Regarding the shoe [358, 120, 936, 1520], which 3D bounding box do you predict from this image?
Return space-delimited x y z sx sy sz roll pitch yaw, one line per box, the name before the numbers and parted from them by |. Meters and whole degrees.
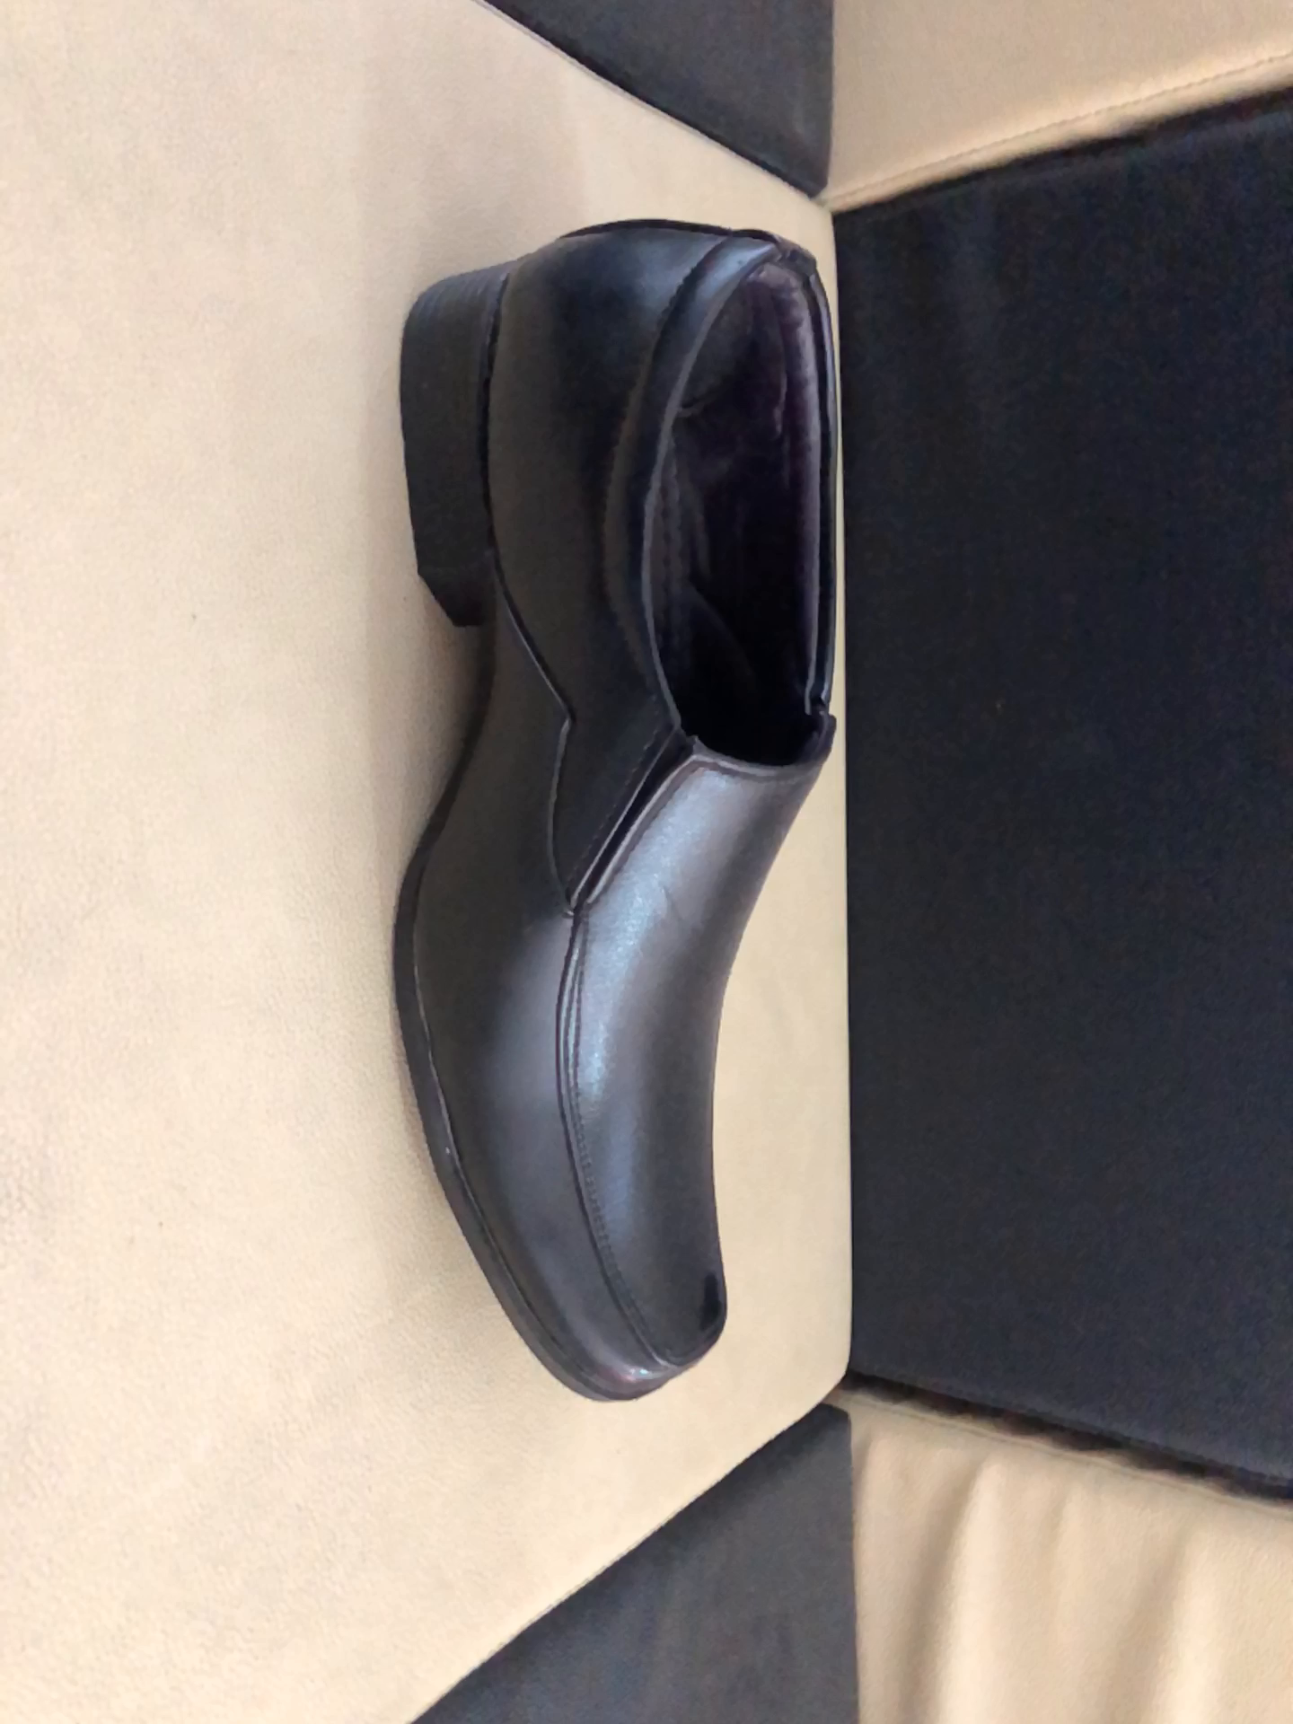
shoe | 0.005 -0.008 0.363 0.101 0.089 0.290 -9 97 -53
